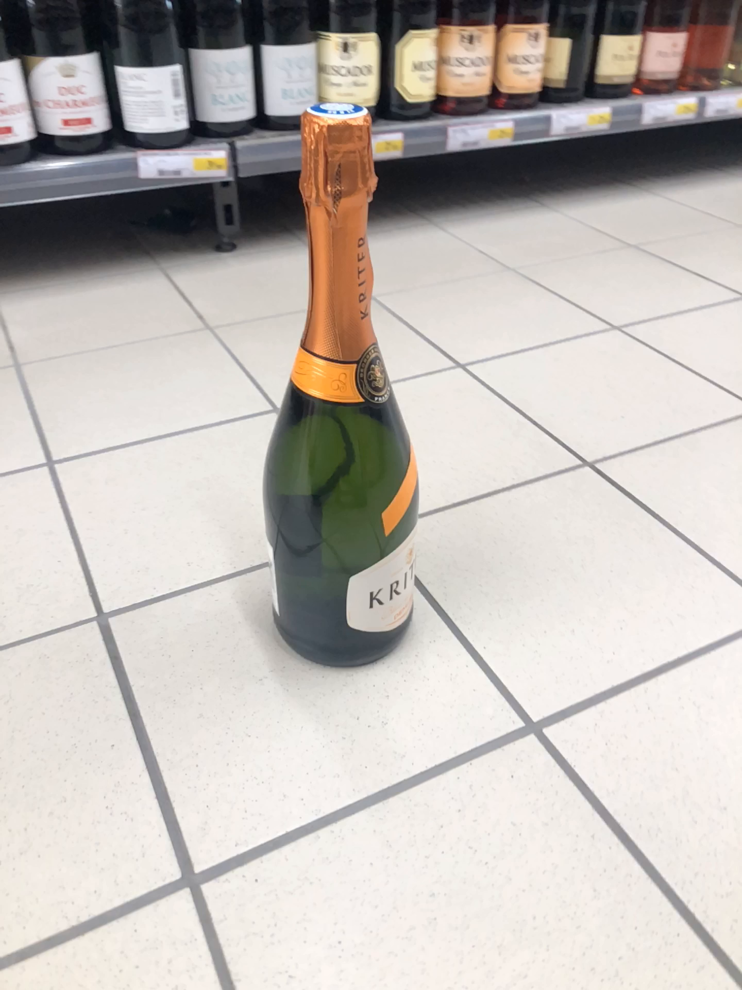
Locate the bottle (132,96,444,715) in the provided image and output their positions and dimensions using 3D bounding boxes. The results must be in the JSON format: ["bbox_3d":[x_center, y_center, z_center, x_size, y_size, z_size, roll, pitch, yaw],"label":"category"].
[{"bbox_3d":[-0.034,-0.037,0.446,0.100,0.308,0.101,0,34,0],"label":"bottle"}]
